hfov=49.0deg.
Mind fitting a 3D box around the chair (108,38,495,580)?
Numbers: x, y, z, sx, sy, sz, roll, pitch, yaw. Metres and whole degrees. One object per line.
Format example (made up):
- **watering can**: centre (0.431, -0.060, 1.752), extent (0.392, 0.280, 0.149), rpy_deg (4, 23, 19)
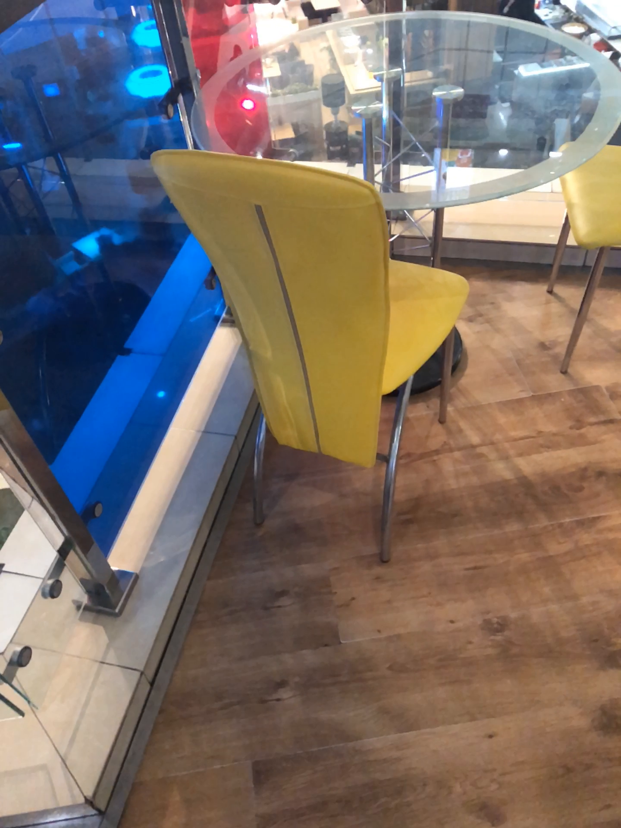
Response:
- **chair**: centre (0.050, -0.162, 1.355), extent (0.430, 0.897, 0.492), rpy_deg (13, 51, 18)
